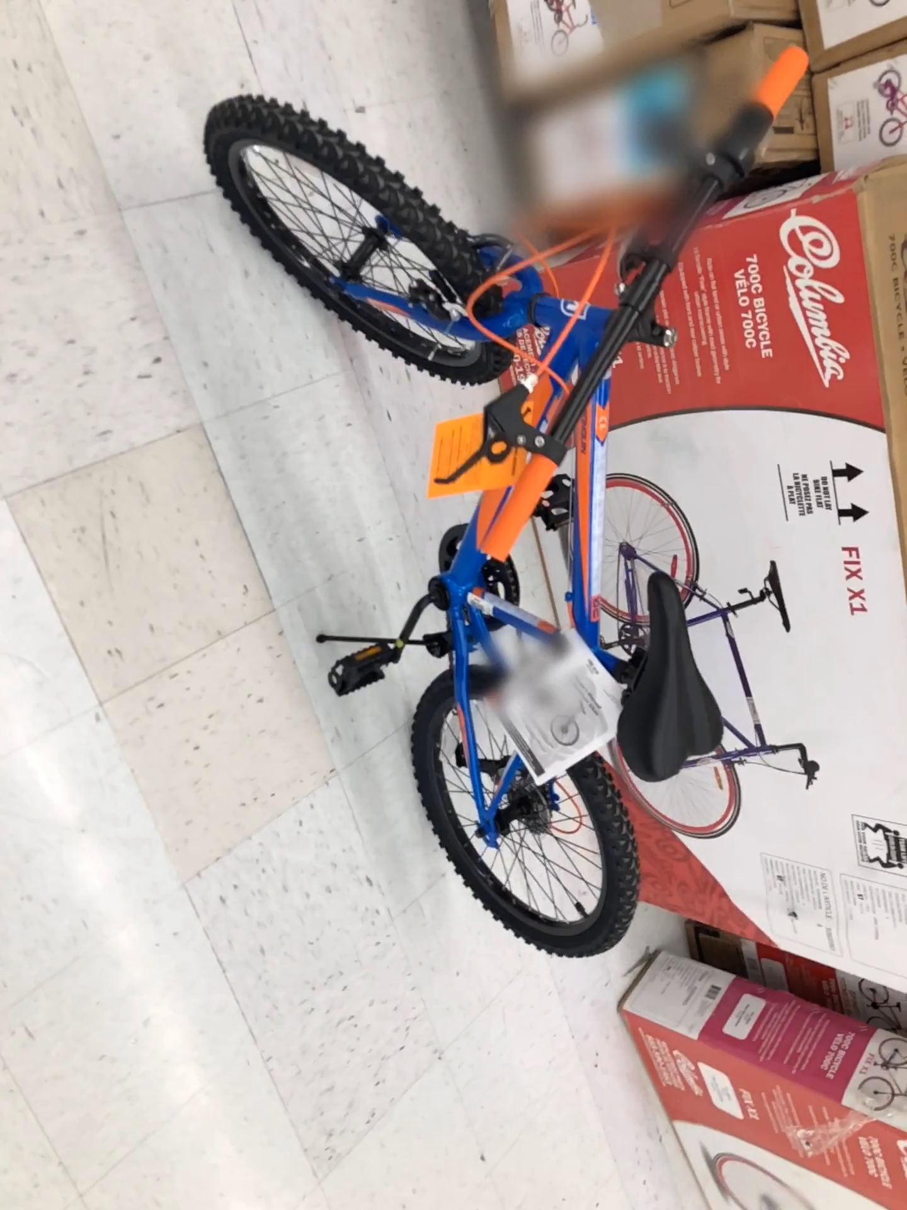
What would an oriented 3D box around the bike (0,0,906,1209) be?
[{"bbox_3d":[-0.032,-0.020,1.353,0.586,0.870,1.315,-33,109,-38],"label":"bike"}]
